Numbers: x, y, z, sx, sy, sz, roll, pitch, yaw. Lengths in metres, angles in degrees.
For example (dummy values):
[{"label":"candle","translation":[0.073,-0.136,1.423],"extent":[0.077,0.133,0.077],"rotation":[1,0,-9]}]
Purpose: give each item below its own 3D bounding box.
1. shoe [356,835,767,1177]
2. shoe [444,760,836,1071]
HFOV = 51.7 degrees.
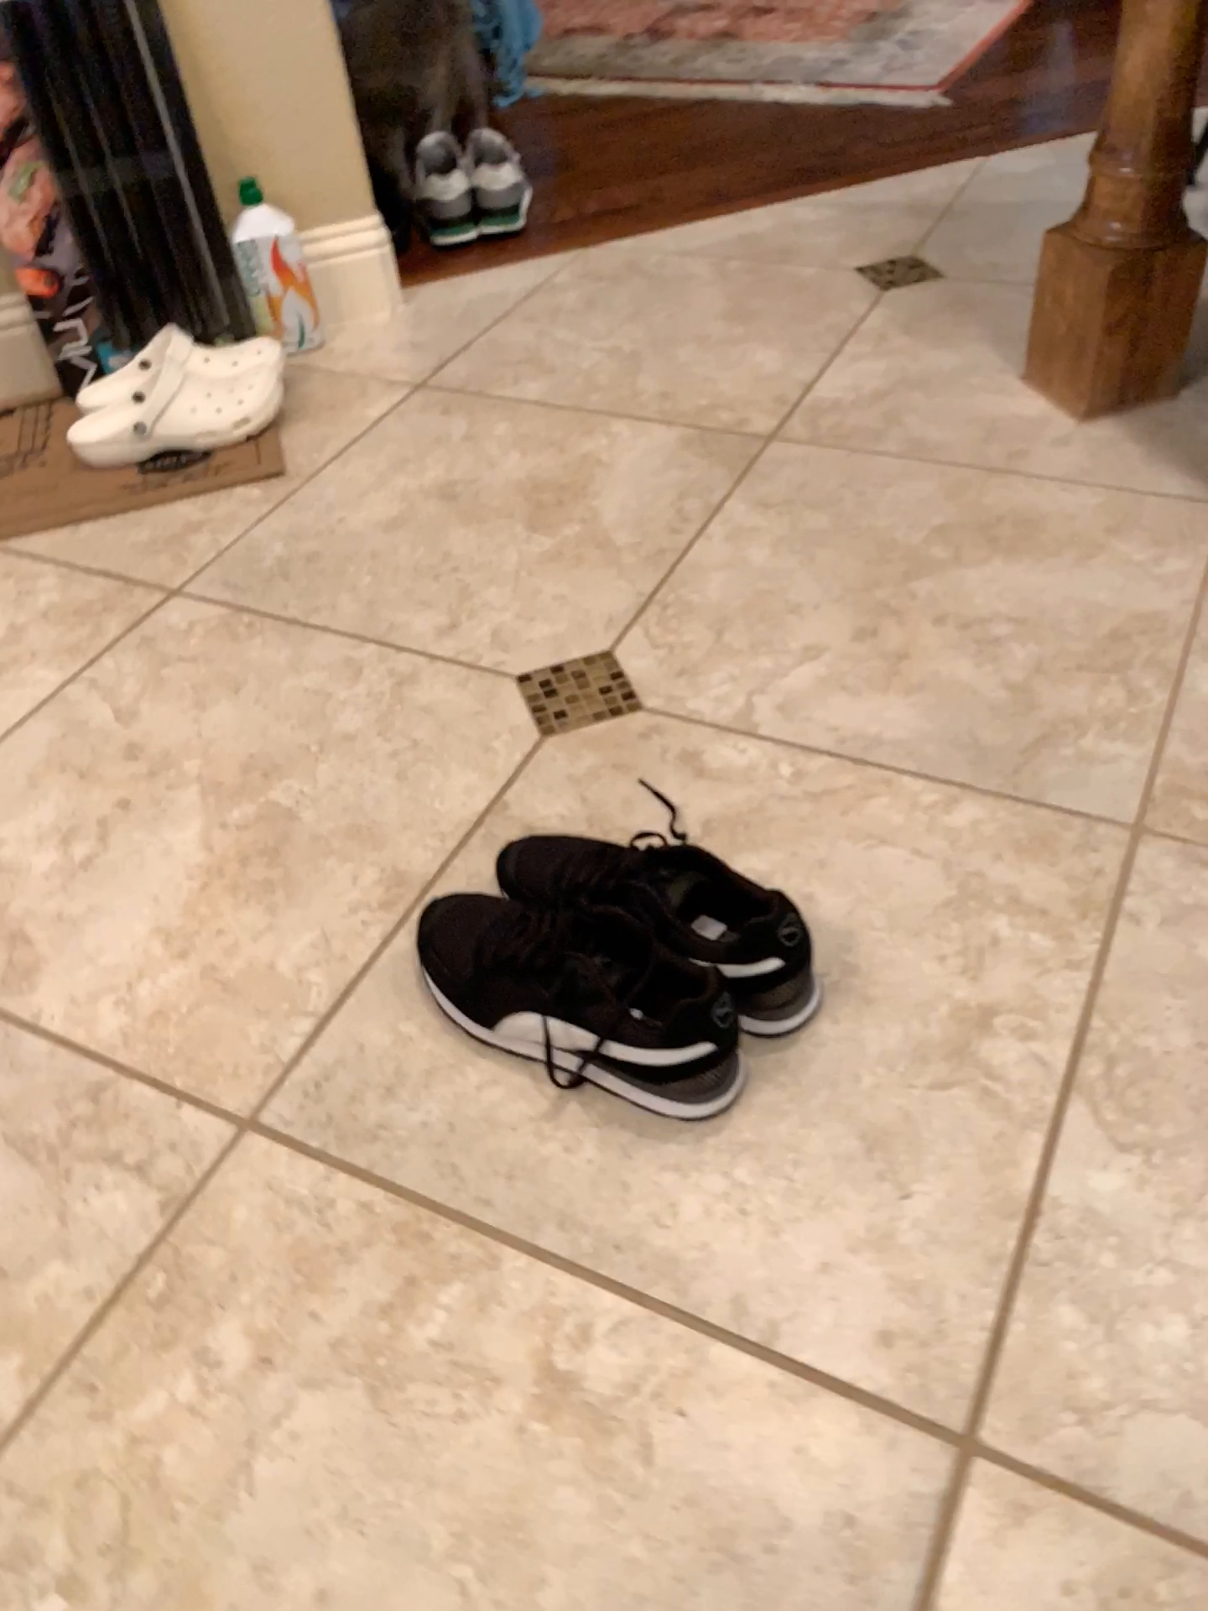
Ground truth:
[{"label":"shoe","translation":[-0.030,0.134,0.882],"extent":[0.269,0.095,0.108],"rotation":[22,49,27]},{"label":"shoe","translation":[0.026,0.075,0.935],"extent":[0.269,0.095,0.108],"rotation":[22,51,27]}]
